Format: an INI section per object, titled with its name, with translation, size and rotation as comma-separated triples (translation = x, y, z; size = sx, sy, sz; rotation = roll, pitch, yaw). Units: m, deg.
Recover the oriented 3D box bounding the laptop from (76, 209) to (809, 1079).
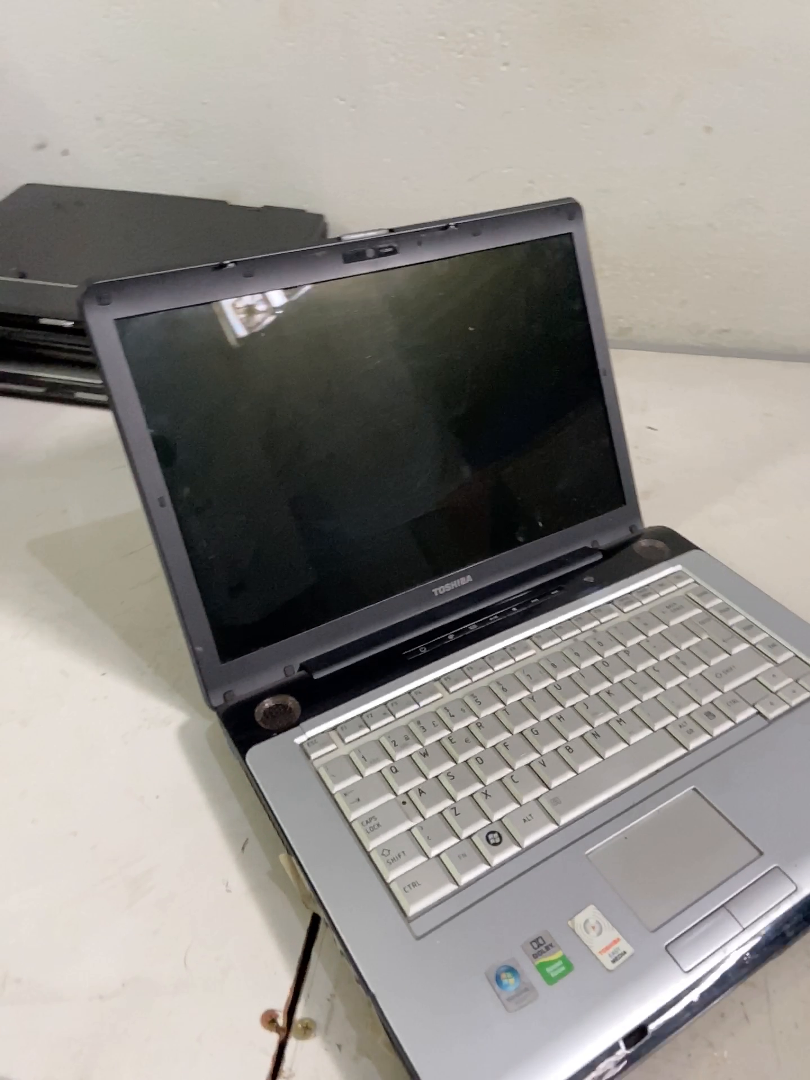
[laptop]
translation = 0.072, -0.003, 0.454
size = 0.351, 0.200, 0.394
rotation = -20, 42, -25
